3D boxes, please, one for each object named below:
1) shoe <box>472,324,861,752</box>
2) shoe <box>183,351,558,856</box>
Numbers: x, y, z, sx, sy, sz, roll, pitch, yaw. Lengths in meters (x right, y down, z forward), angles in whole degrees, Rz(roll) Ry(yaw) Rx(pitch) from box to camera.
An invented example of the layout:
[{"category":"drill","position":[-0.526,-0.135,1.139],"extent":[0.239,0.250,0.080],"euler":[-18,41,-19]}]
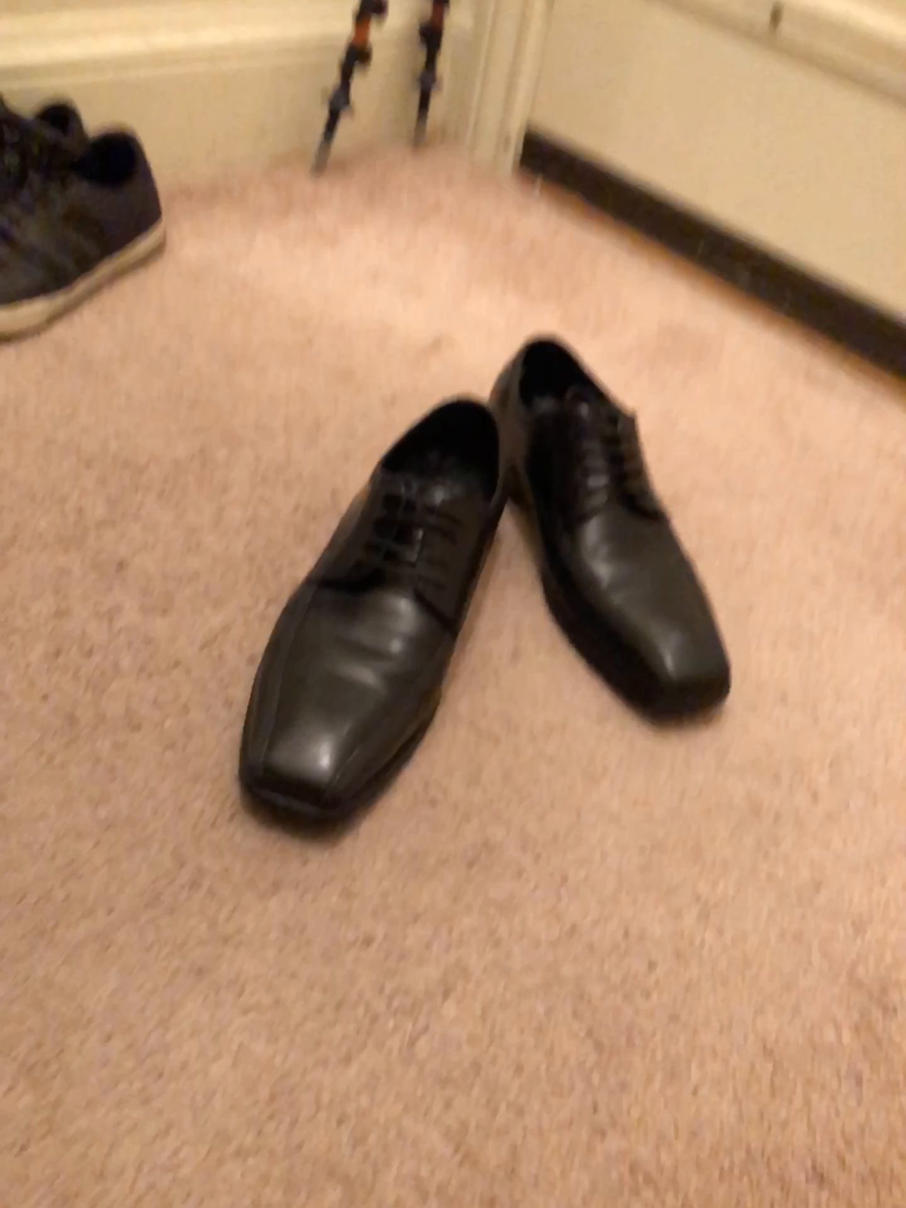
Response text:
[{"category":"shoe","position":[0.122,-0.061,0.677],"extent":[0.115,0.110,0.298],"euler":[-6,47,-19]},{"category":"shoe","position":[-0.036,-0.018,0.579],"extent":[0.110,0.107,0.285],"euler":[19,44,6]}]
